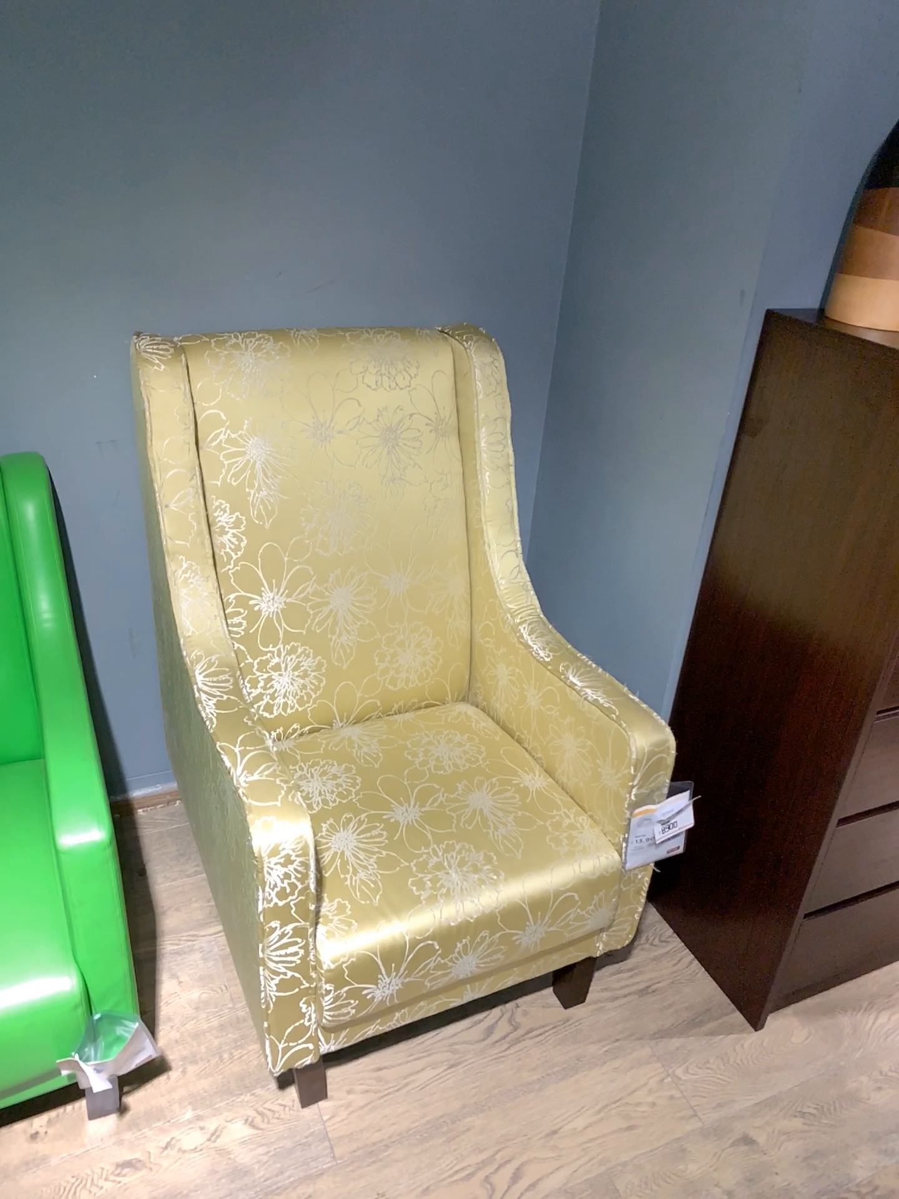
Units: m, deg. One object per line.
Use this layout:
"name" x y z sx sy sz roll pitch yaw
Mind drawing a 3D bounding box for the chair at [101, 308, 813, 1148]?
"chair" -0.111 0.100 1.665 0.781 1.026 0.953 -9 31 -24
